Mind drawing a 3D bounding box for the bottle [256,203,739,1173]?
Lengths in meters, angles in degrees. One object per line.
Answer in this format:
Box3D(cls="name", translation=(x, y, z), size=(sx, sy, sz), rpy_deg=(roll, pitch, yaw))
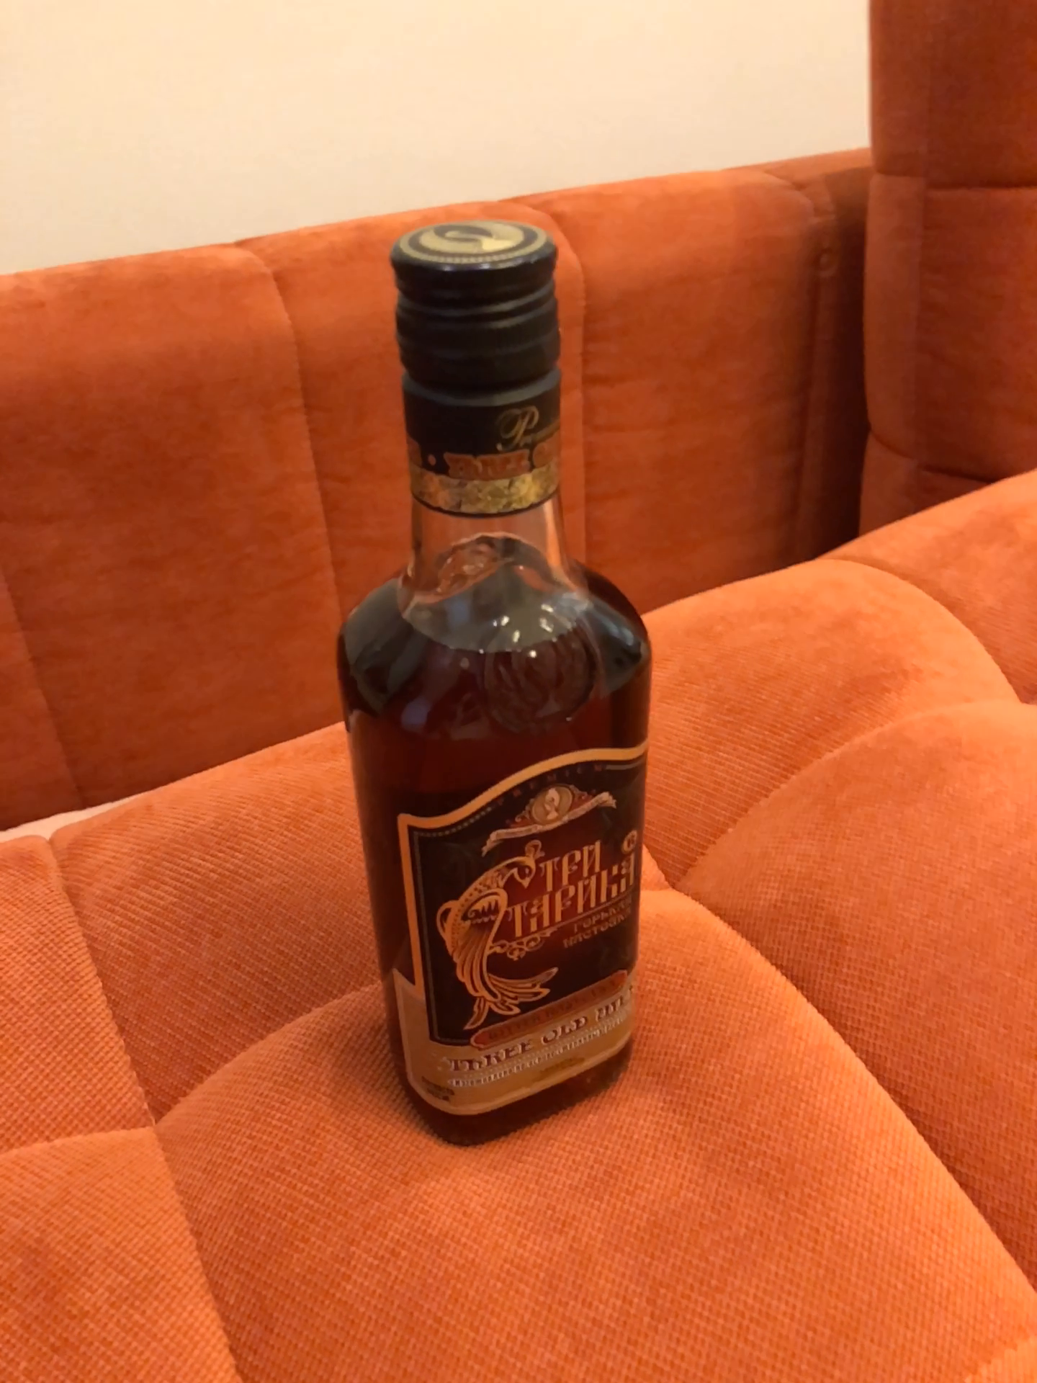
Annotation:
Box3D(cls="bottle", translation=(-0.003, 0.015, 0.284), size=(0.074, 0.237, 0.056), rpy_deg=(-17, 39, -20))
